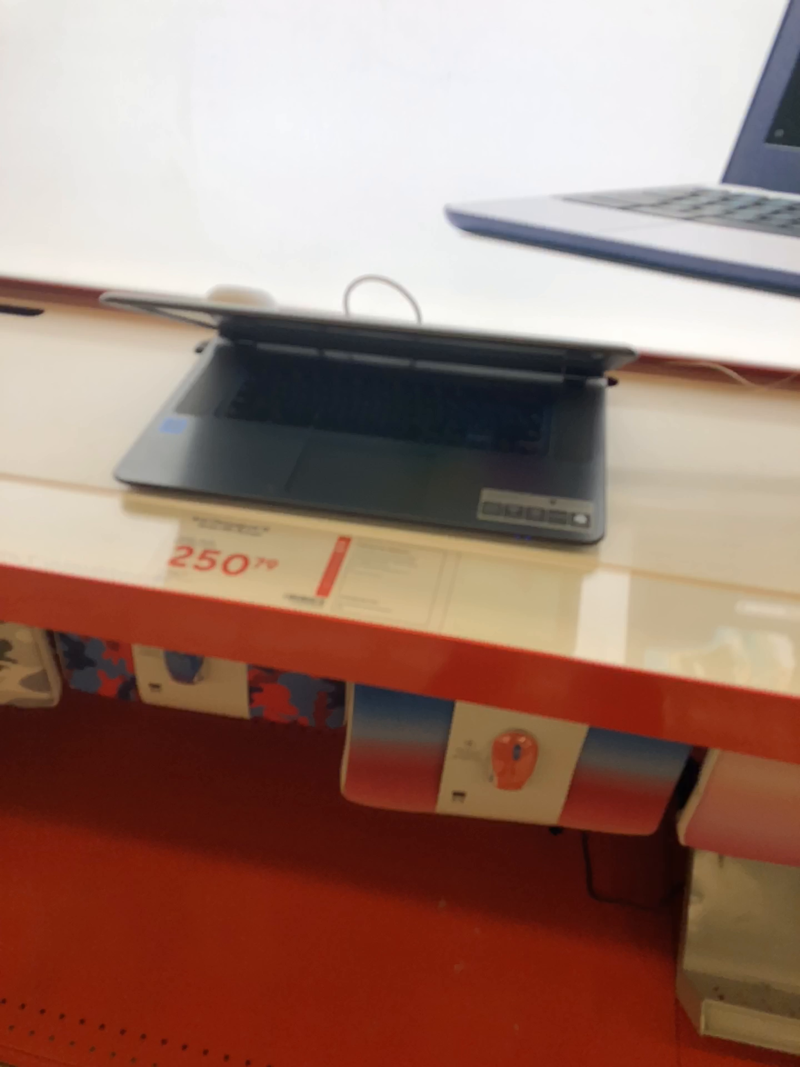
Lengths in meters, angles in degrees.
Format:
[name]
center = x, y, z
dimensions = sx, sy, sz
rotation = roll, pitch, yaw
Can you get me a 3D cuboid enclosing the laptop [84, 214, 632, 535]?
[laptop]
center = -0.015, -0.142, 0.689
dimensions = 0.363, 0.122, 0.238
rotation = 7, 38, 7
